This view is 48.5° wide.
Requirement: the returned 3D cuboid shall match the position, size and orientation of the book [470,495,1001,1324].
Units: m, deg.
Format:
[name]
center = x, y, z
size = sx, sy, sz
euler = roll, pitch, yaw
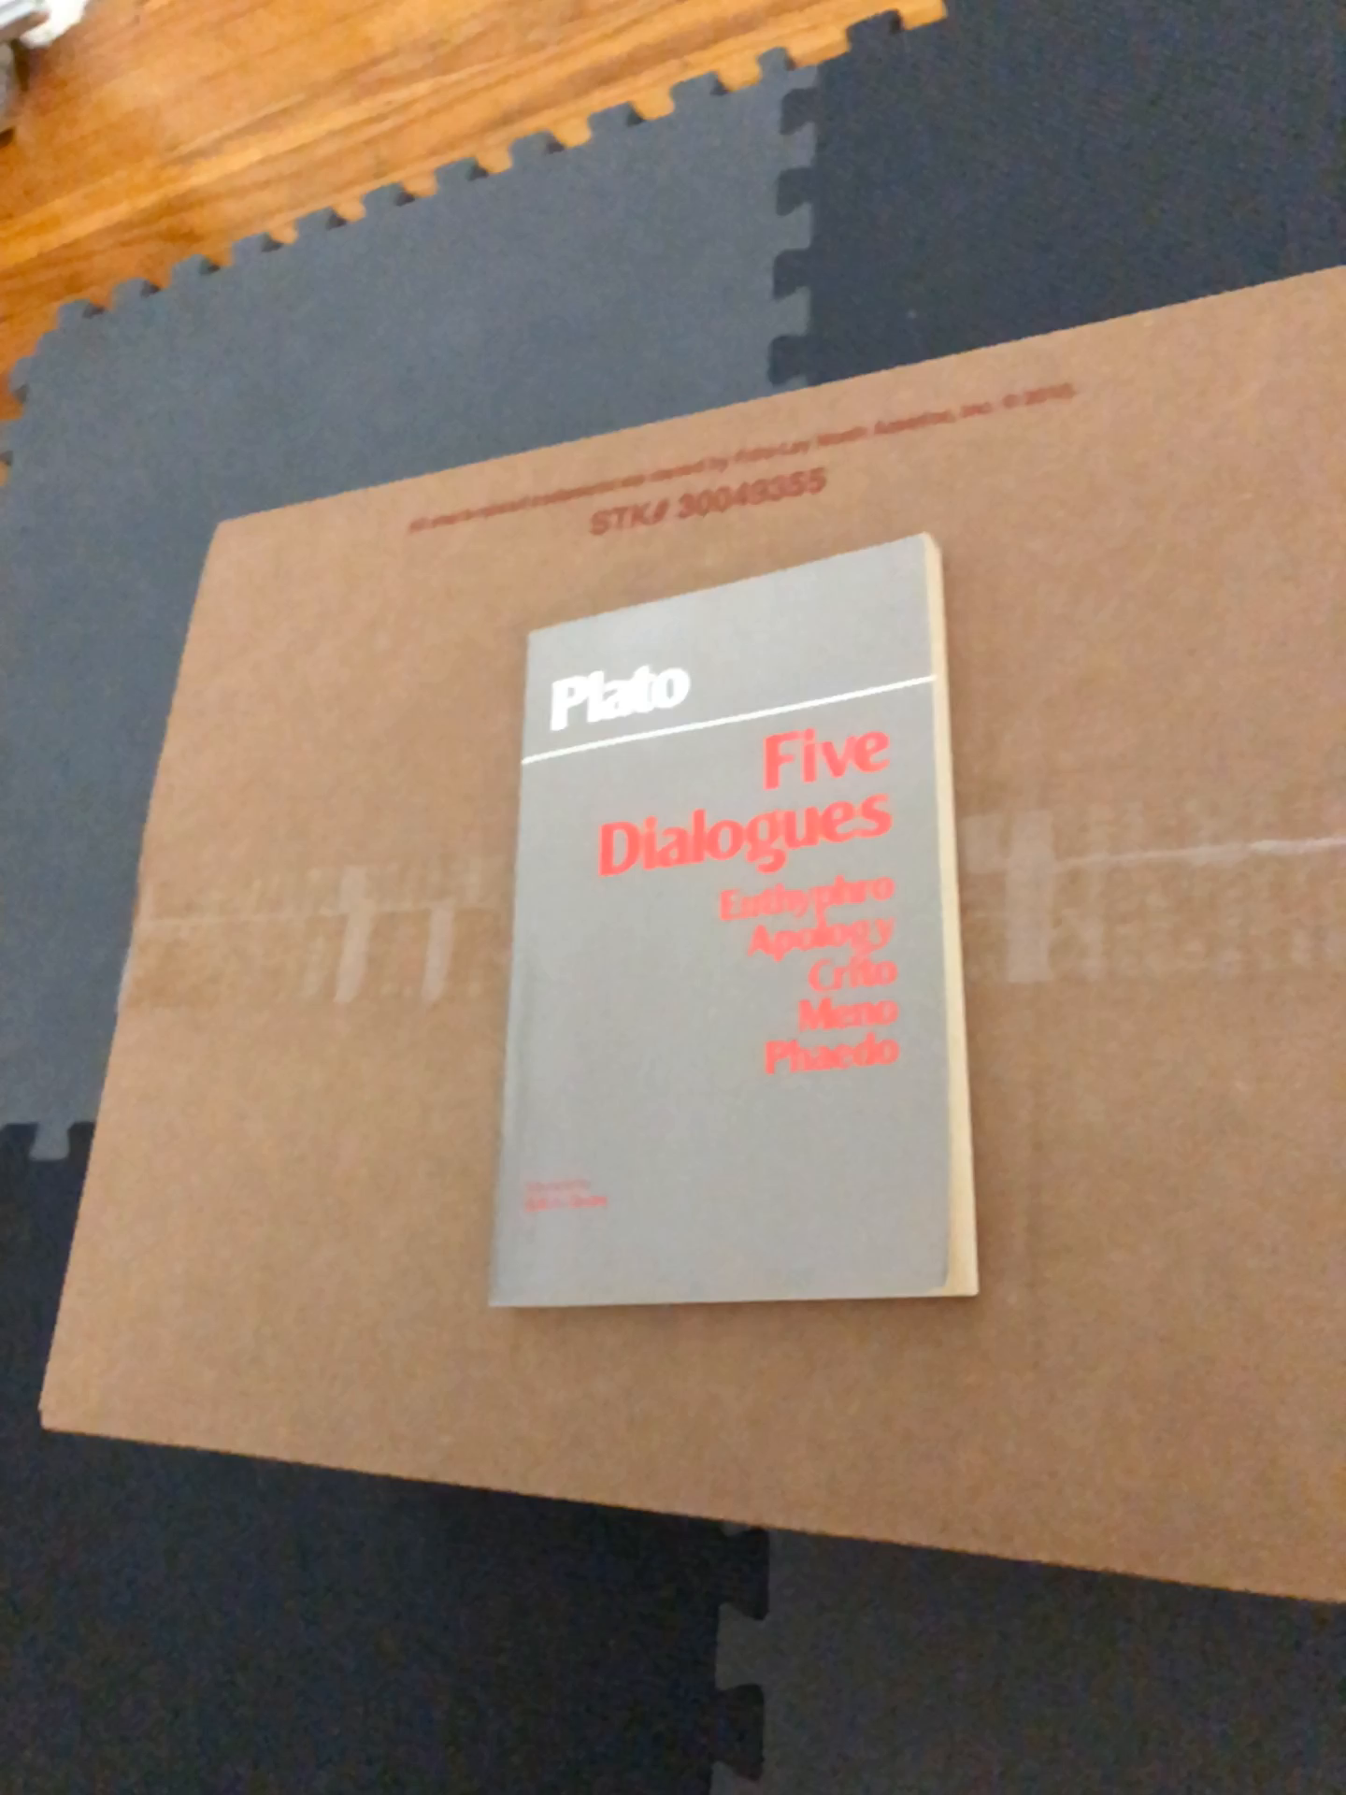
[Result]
[book]
center = 0.013, 0.003, 0.422
size = 0.140, 0.020, 0.220
euler = -10, 67, 25
